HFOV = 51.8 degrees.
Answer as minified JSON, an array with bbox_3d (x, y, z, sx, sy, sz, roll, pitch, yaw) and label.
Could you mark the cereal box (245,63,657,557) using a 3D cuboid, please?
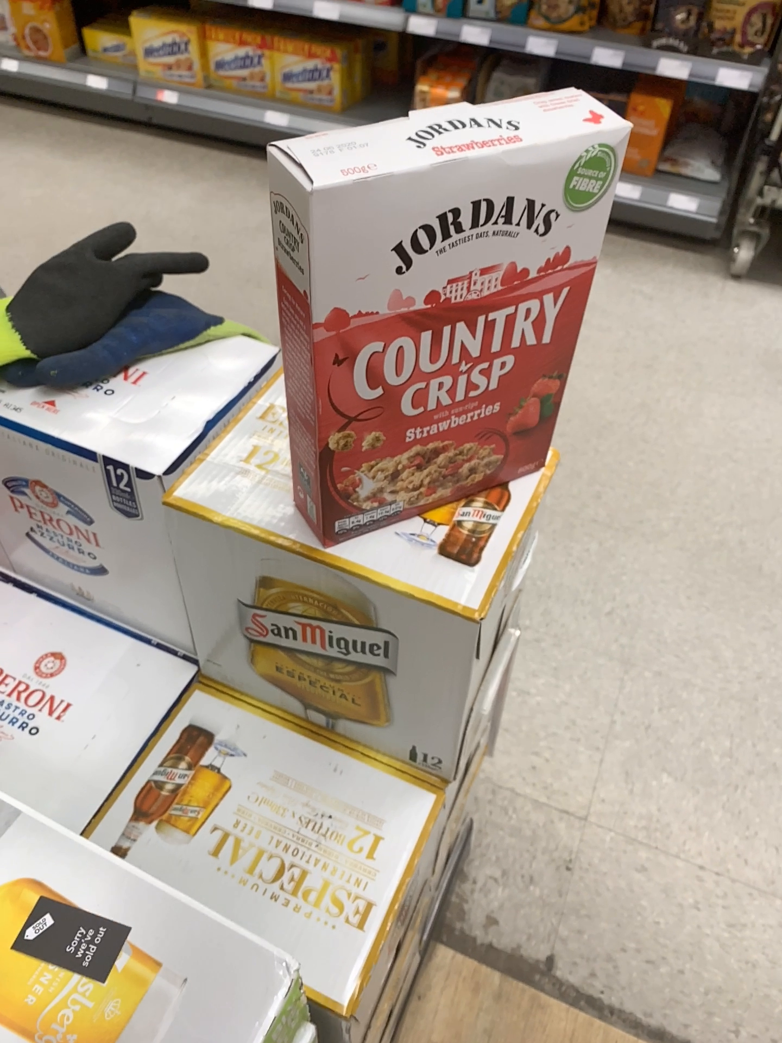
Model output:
[{"bbox_3d":[0.026,-0.111,0.471,0.190,0.248,0.060,-20,53,-21],"label":"cereal box"}]
